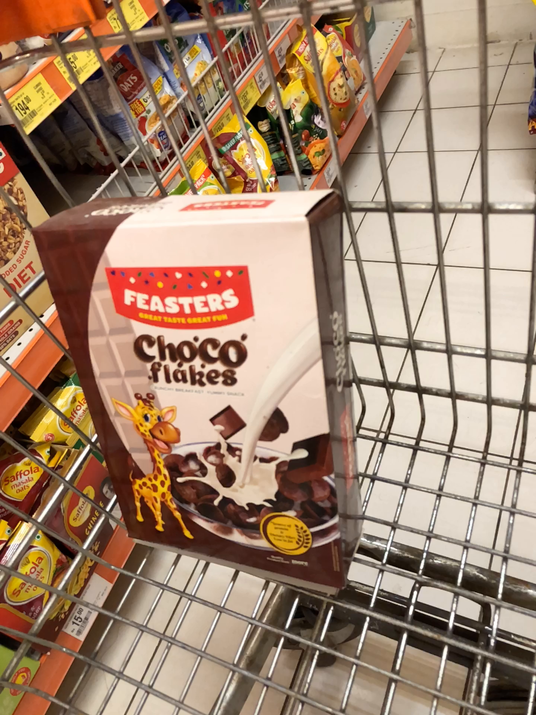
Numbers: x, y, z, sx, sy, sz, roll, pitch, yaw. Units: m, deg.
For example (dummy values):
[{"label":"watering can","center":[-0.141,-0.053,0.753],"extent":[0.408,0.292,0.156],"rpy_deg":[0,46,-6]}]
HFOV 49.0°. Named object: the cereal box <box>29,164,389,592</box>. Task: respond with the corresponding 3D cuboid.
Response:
[{"label":"cereal box","center":[-0.023,0.016,0.369],"extent":[0.170,0.239,0.070],"rpy_deg":[3,28,24]}]
